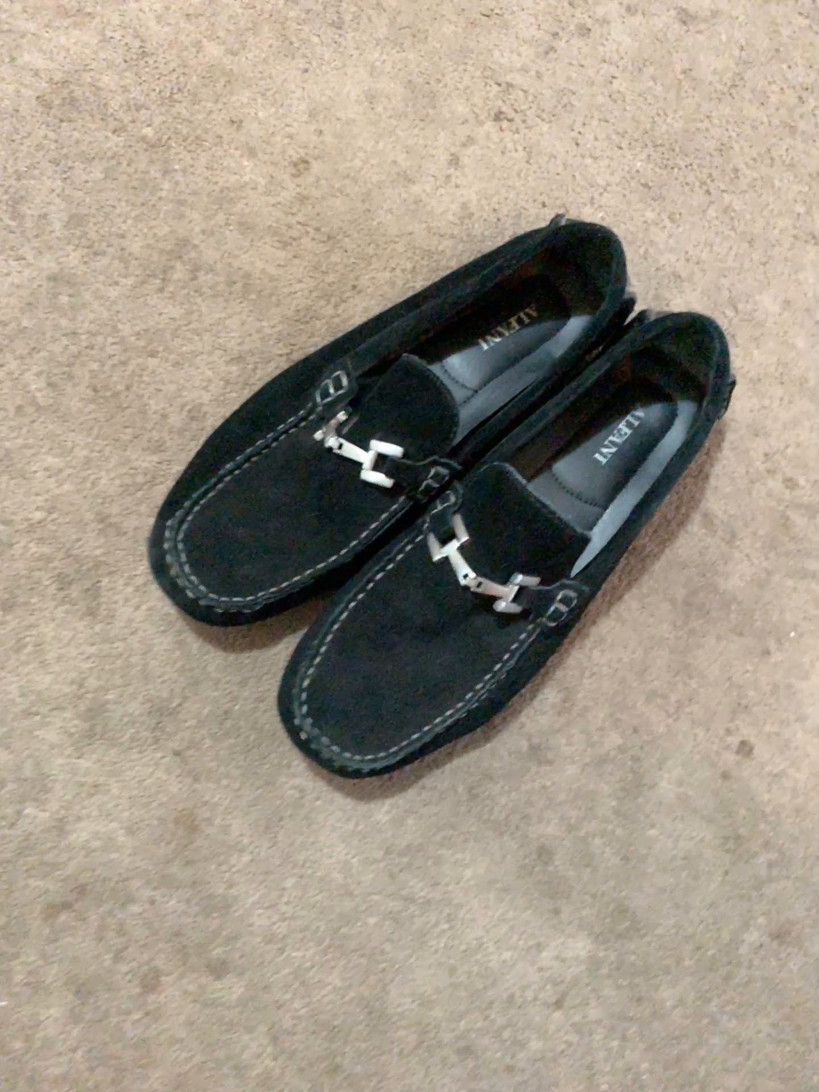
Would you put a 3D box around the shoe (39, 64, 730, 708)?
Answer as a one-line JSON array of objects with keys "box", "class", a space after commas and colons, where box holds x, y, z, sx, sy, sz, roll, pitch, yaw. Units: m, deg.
[{"box": [-0.003, -0.070, 0.395, 0.100, 0.100, 0.301, 45, 78, 6], "class": "shoe"}]

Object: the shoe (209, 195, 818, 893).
[{"box": [0.057, -0.005, 0.393, 0.100, 0.100, 0.301, 41, 78, 5], "class": "shoe"}]
